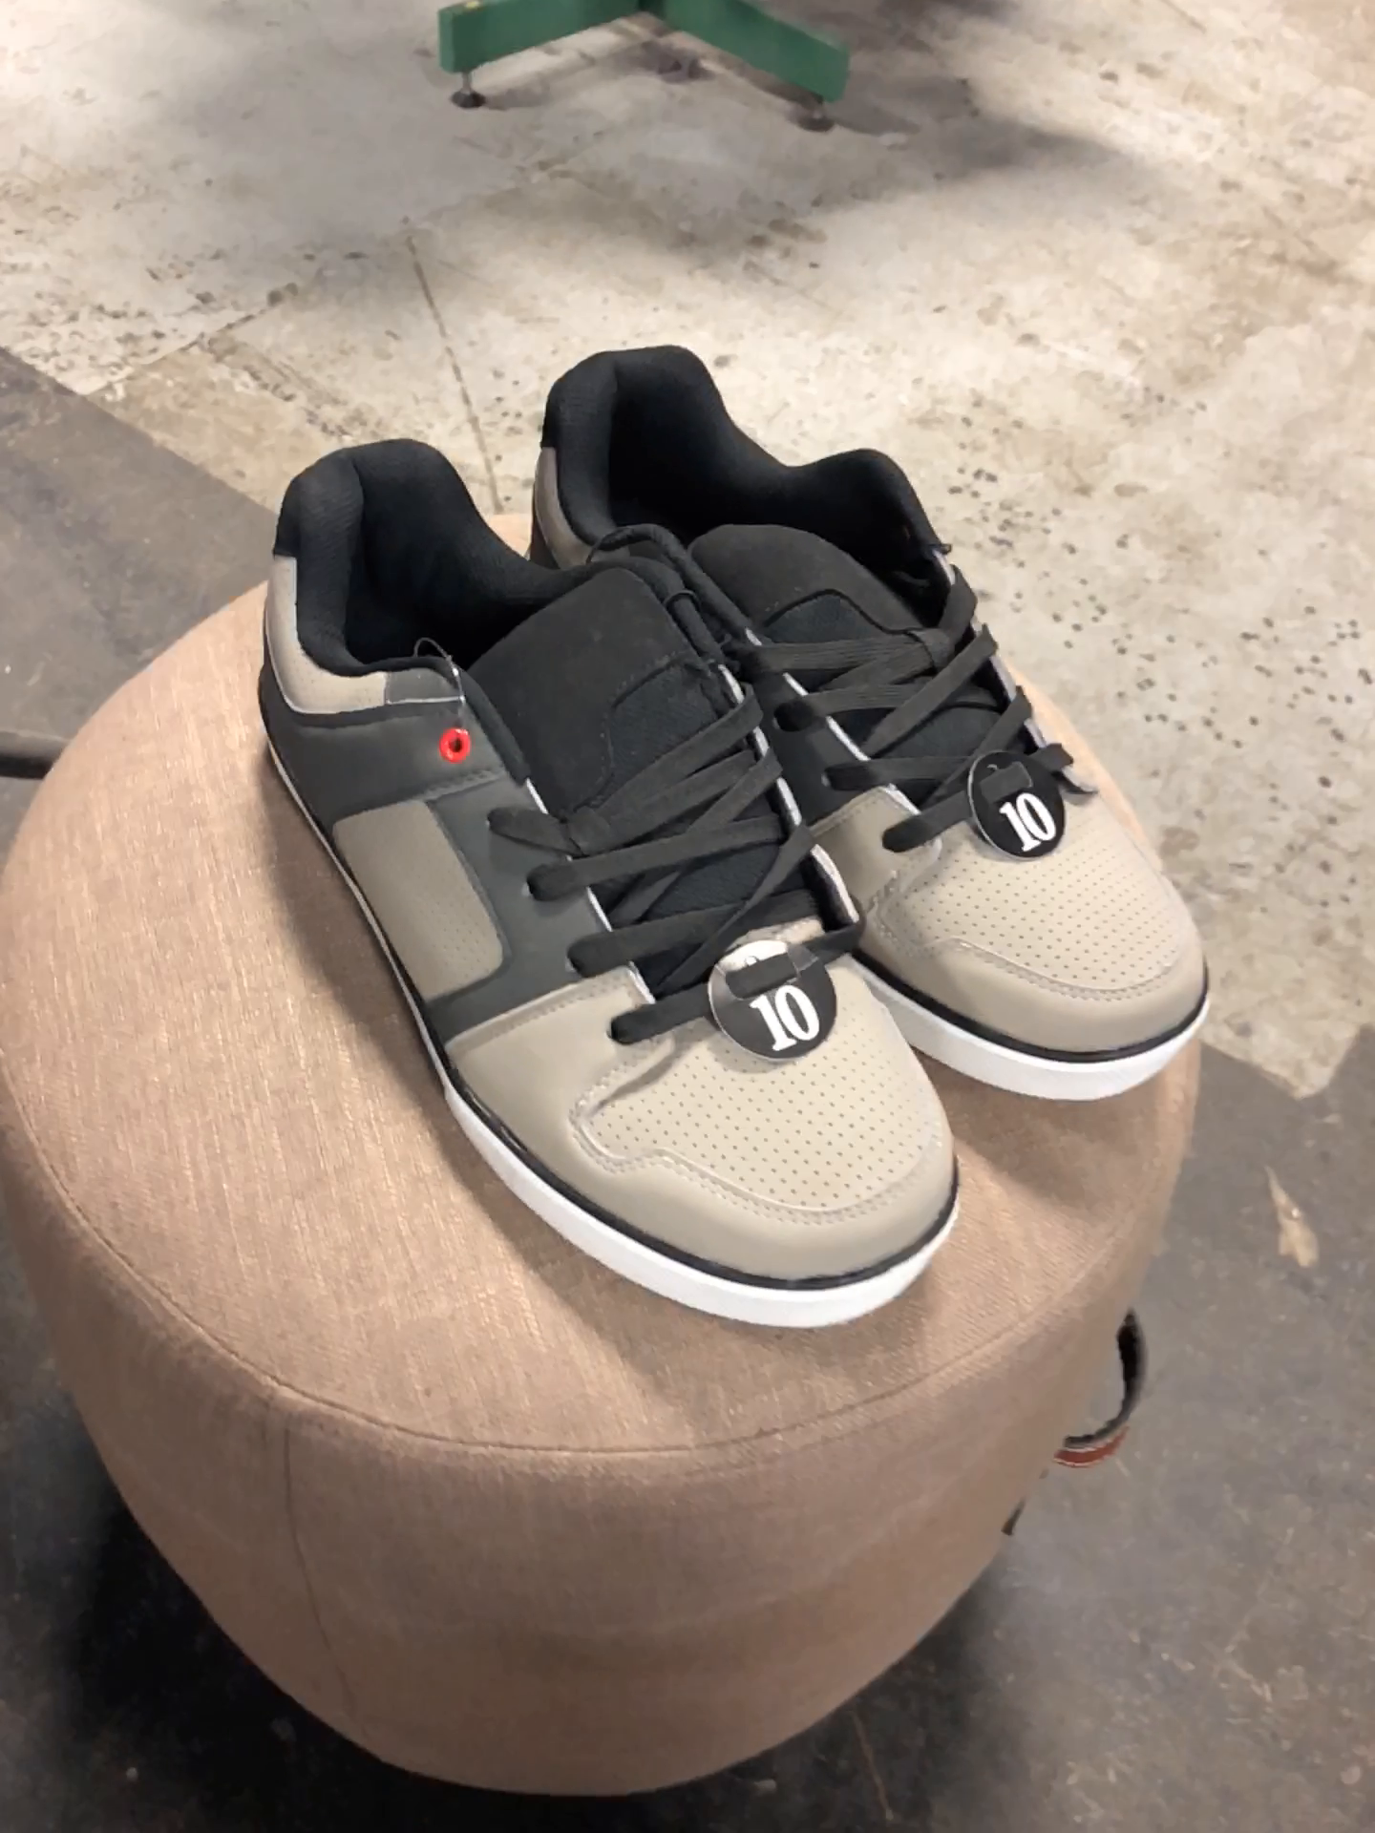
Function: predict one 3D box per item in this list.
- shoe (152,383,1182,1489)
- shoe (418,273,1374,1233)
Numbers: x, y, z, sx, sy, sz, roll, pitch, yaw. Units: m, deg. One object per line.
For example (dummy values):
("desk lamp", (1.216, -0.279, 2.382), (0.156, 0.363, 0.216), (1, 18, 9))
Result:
("shoe", (-0.022, -0.010, 0.409), (0.120, 0.119, 0.261), (-27, 58, -24))
("shoe", (0.053, -0.070, 0.478), (0.120, 0.099, 0.311), (-29, 59, -25))
